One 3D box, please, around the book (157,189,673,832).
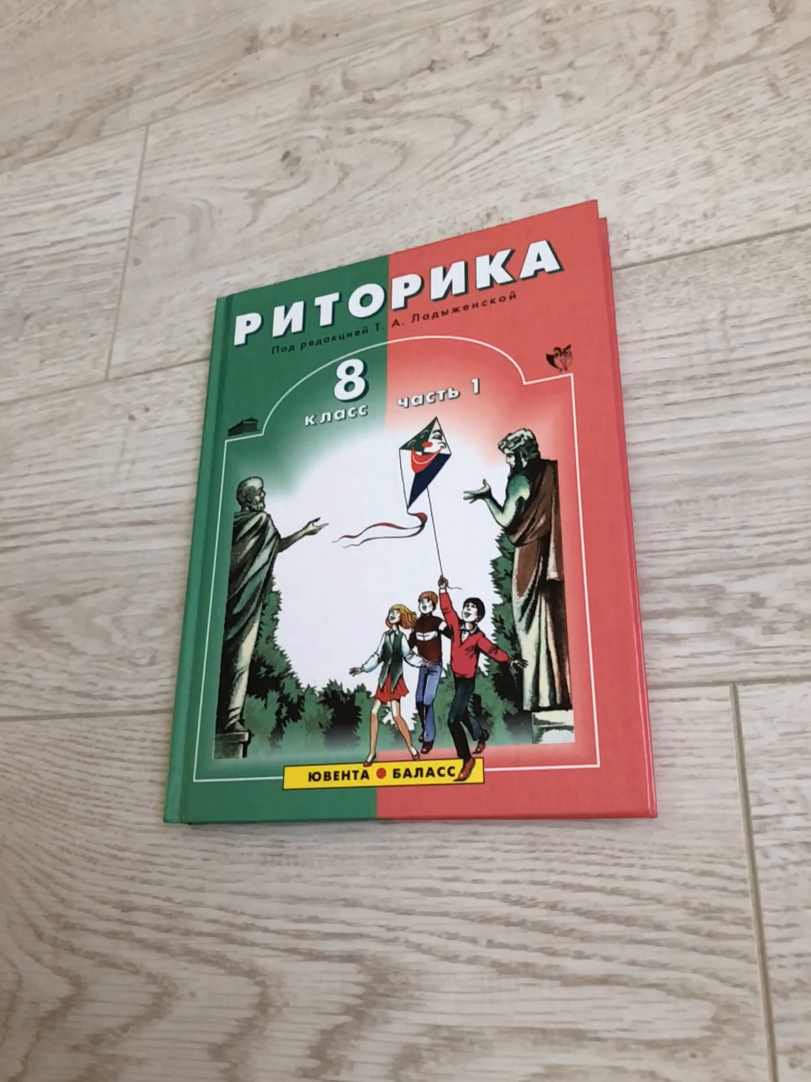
[{"bbox_3d":[-0.002,-0.012,0.329,0.171,0.020,0.223,-8,67,21],"label":"book"}]
